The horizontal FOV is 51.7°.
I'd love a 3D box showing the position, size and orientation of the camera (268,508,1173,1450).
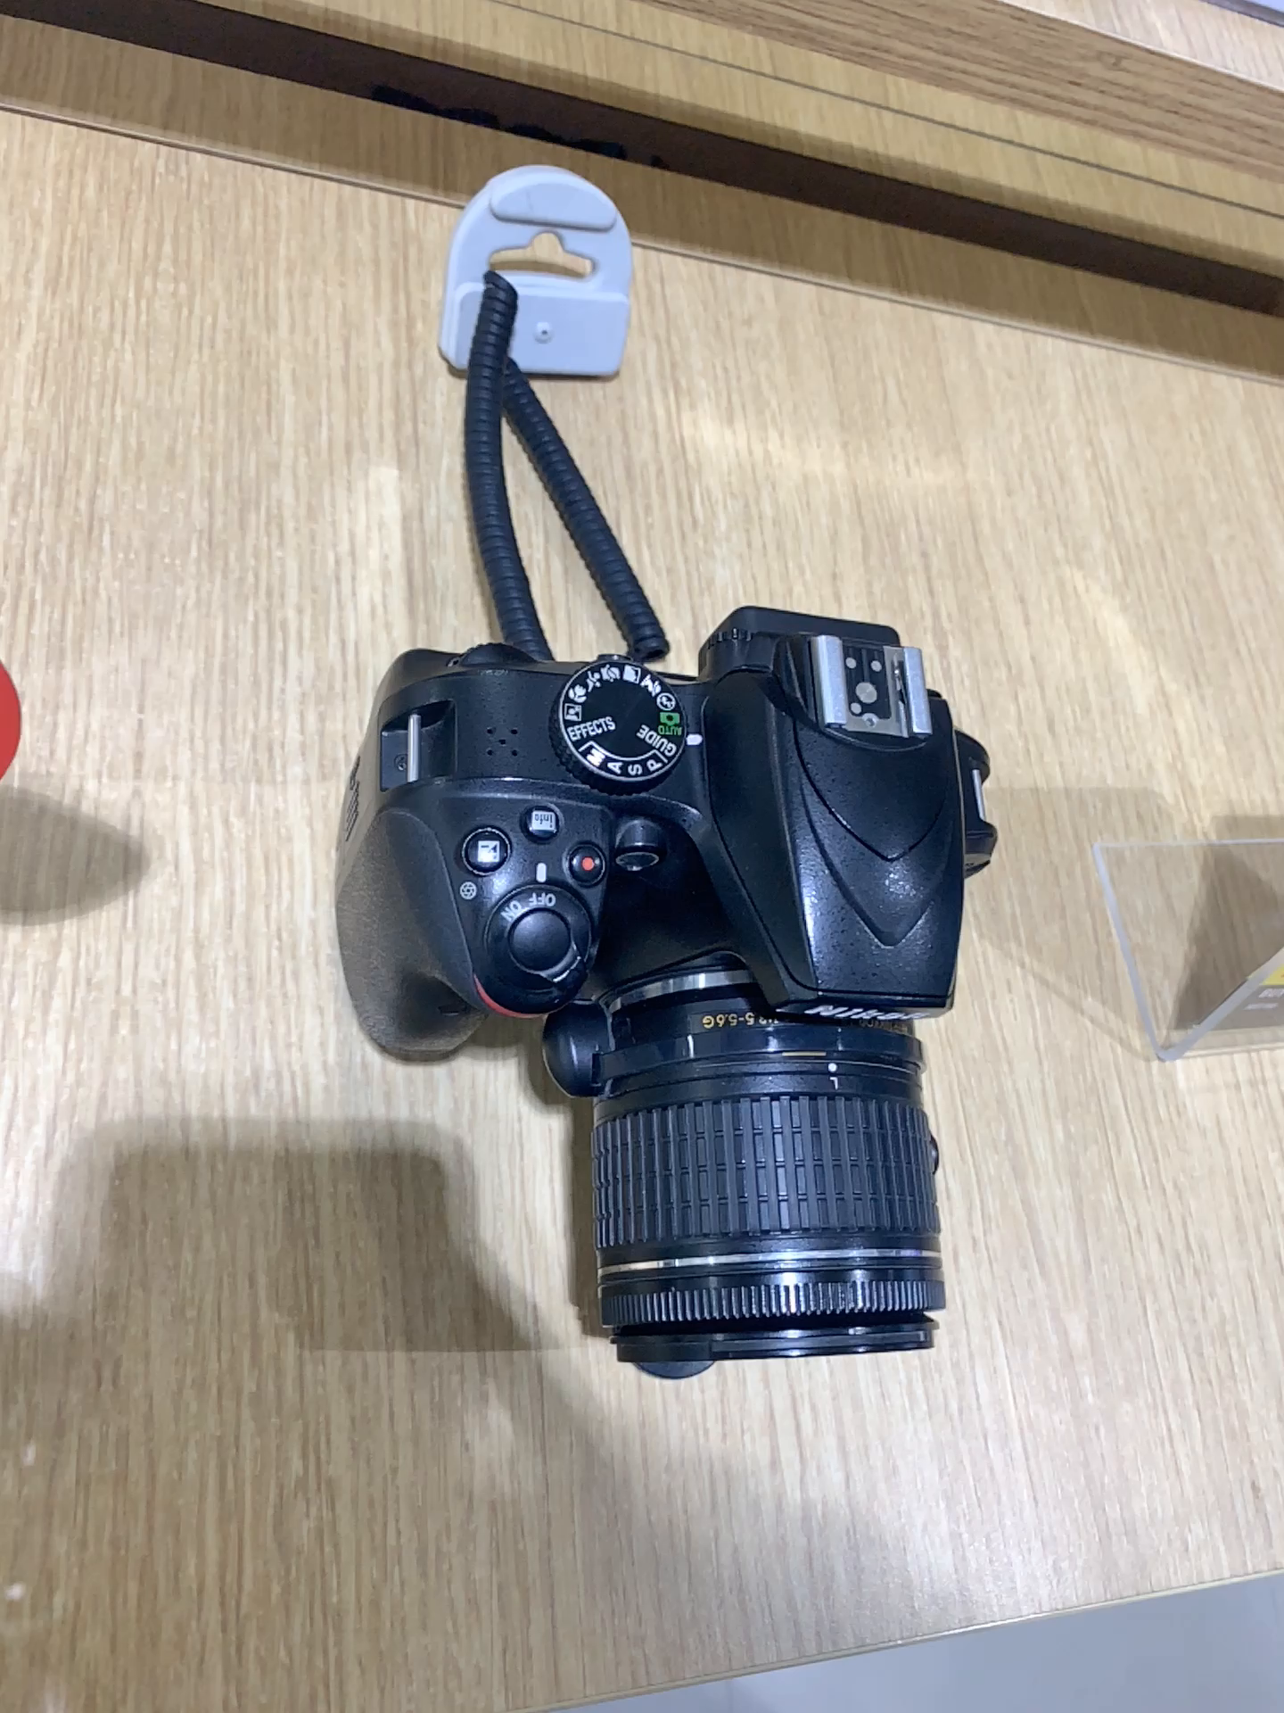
[{"bbox_3d":[0.000,0.026,0.235,0.120,0.090,0.130,2,67,-20],"label":"camera"}]
